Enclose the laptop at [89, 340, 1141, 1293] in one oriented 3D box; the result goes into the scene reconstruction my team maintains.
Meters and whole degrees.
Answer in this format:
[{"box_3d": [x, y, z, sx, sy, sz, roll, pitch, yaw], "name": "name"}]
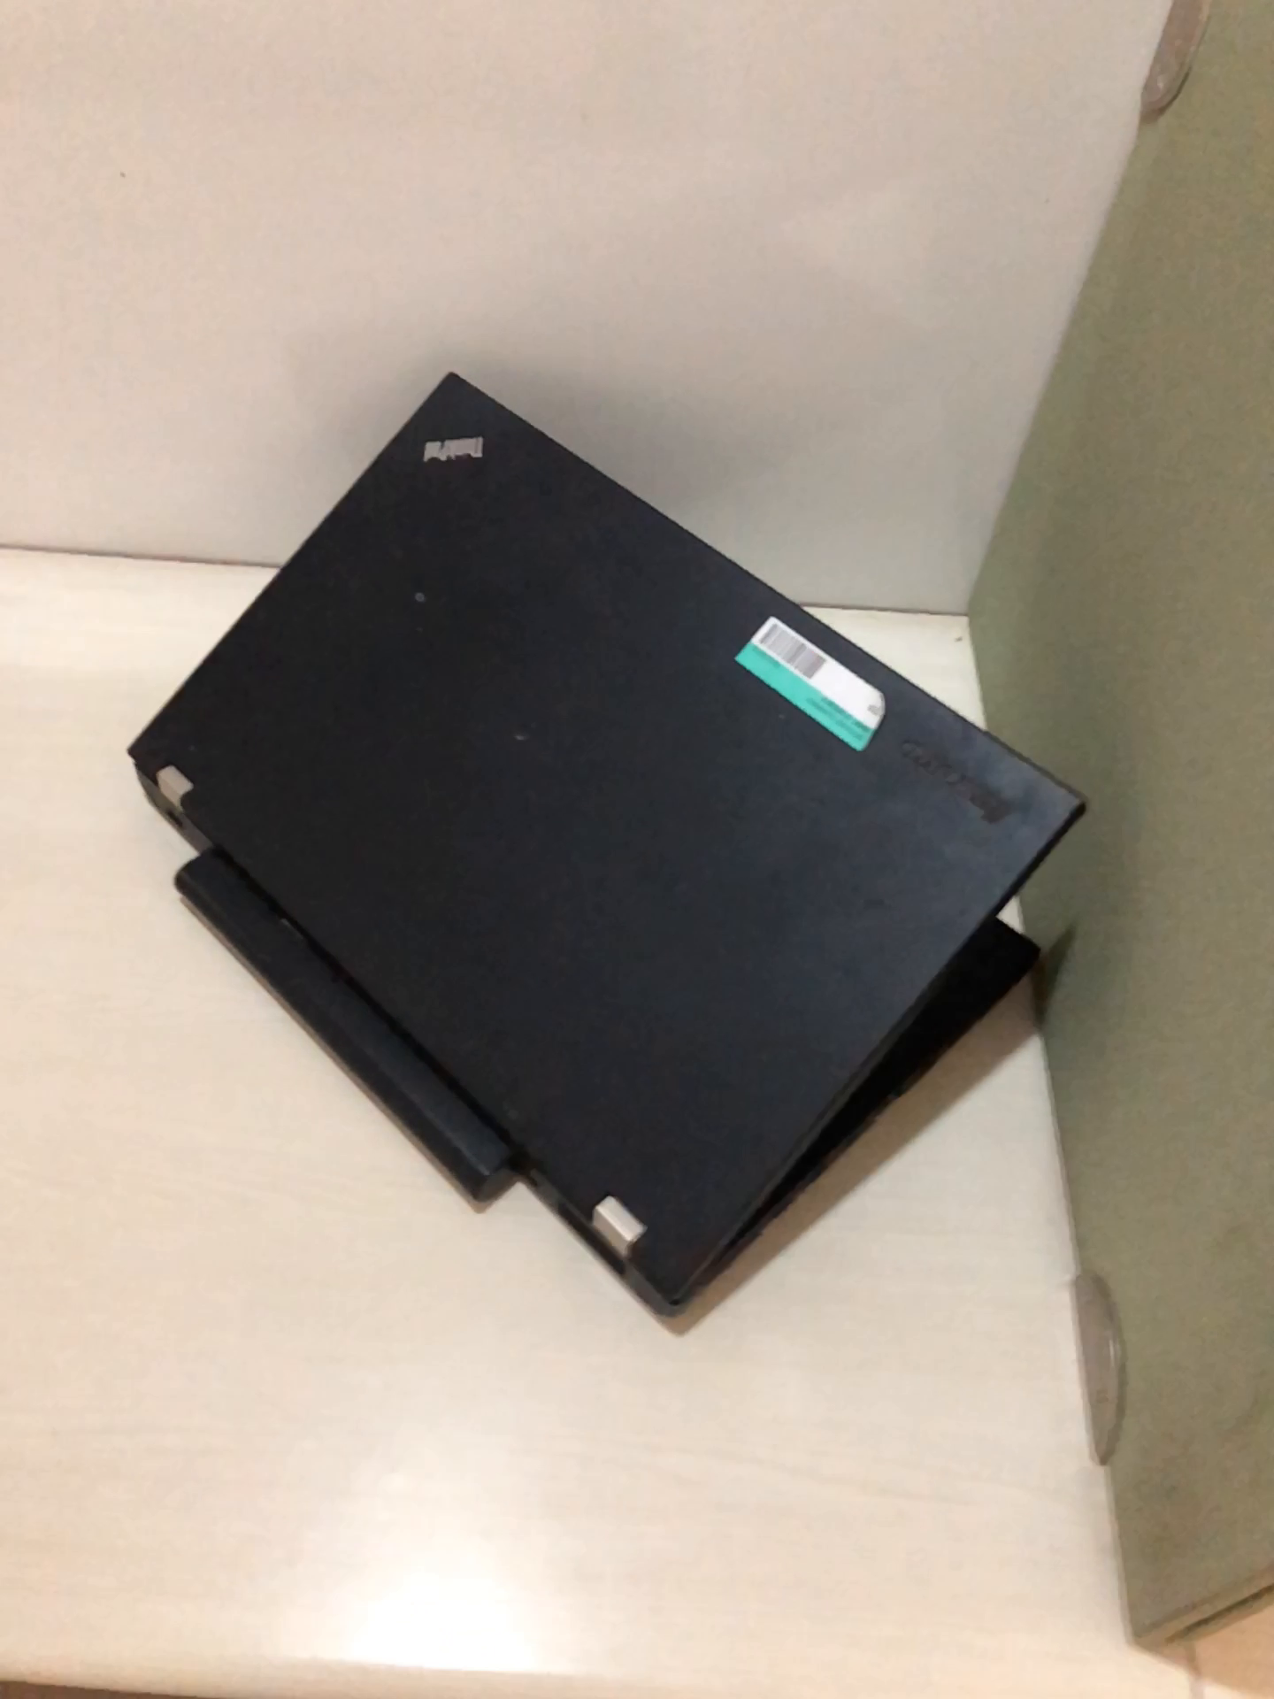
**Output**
[{"box_3d": [-0.023, -0.039, 0.605, 0.233, 0.140, 0.355, -37, 61, -26], "name": "laptop"}]
